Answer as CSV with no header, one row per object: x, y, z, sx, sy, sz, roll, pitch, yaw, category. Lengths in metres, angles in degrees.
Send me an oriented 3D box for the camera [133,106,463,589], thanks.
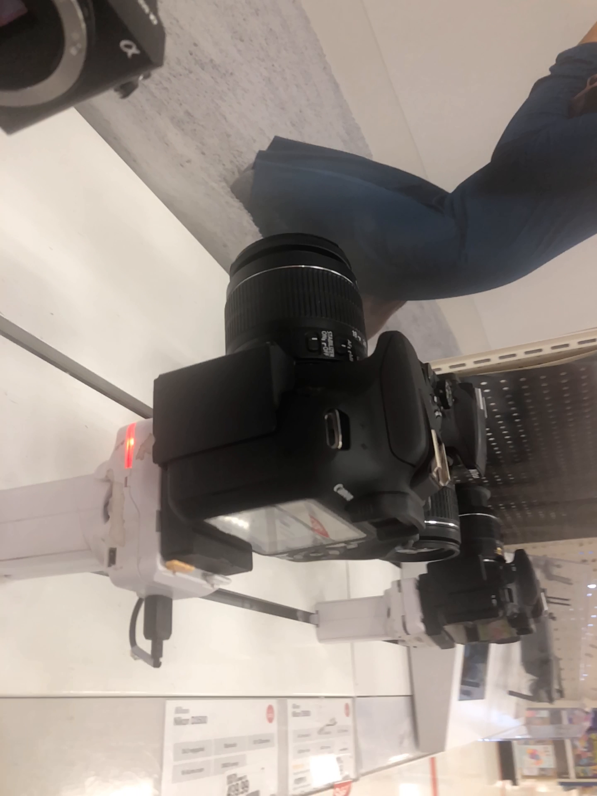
0.010,-0.010,0.313,0.141,0.089,0.170,43,41,-57,camera
